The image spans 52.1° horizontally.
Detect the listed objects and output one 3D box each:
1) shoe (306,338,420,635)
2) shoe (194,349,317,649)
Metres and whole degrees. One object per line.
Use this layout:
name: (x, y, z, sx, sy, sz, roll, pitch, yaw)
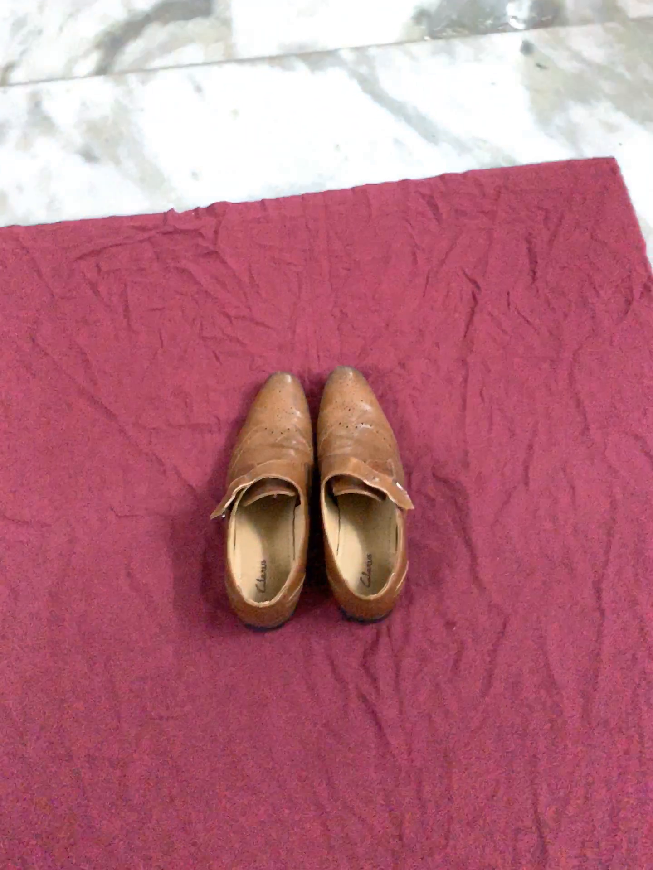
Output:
shoe: (0.031, 0.049, 0.706, 0.100, 0.090, 0.301, -1, 65, -1)
shoe: (-0.067, 0.064, 0.726, 0.100, 0.090, 0.311, 2, 65, 1)
